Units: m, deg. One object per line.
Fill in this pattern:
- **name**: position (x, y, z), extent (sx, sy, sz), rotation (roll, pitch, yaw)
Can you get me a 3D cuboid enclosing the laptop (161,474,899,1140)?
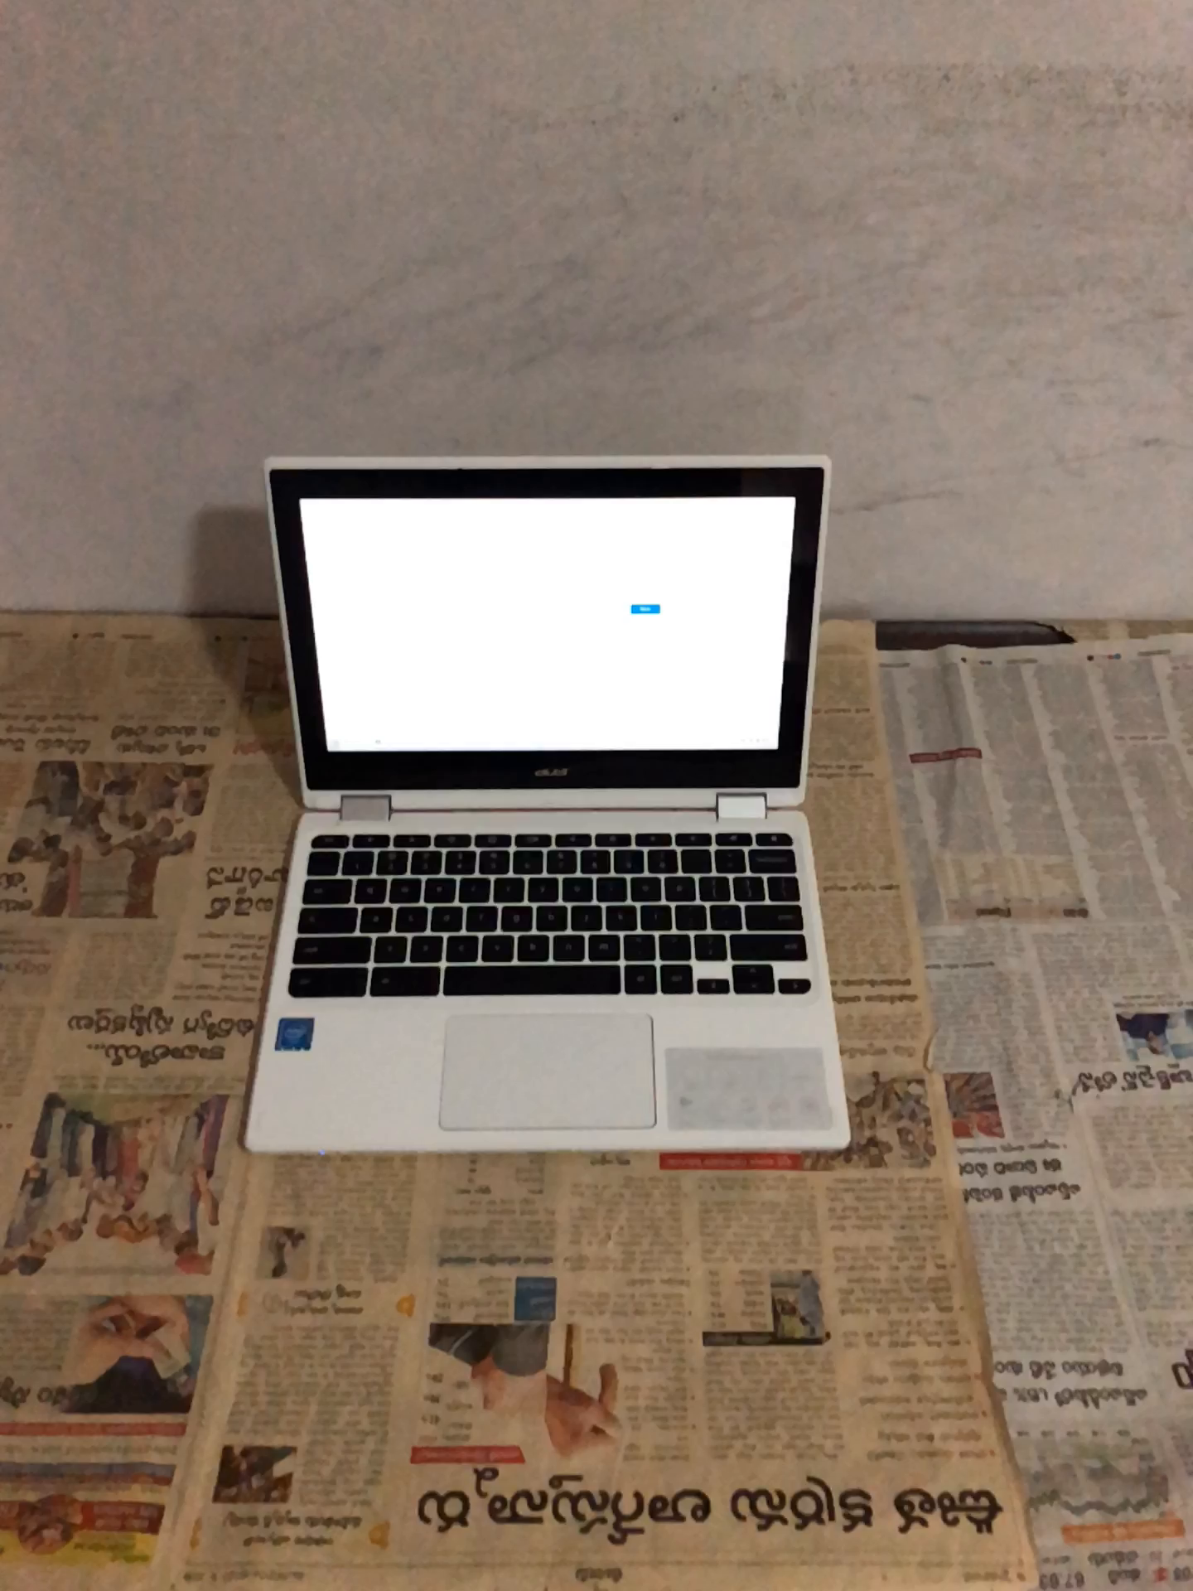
- **laptop**: position (-0.024, 0.000, 0.631), extent (0.268, 0.168, 0.279), rotation (0, 51, 0)
